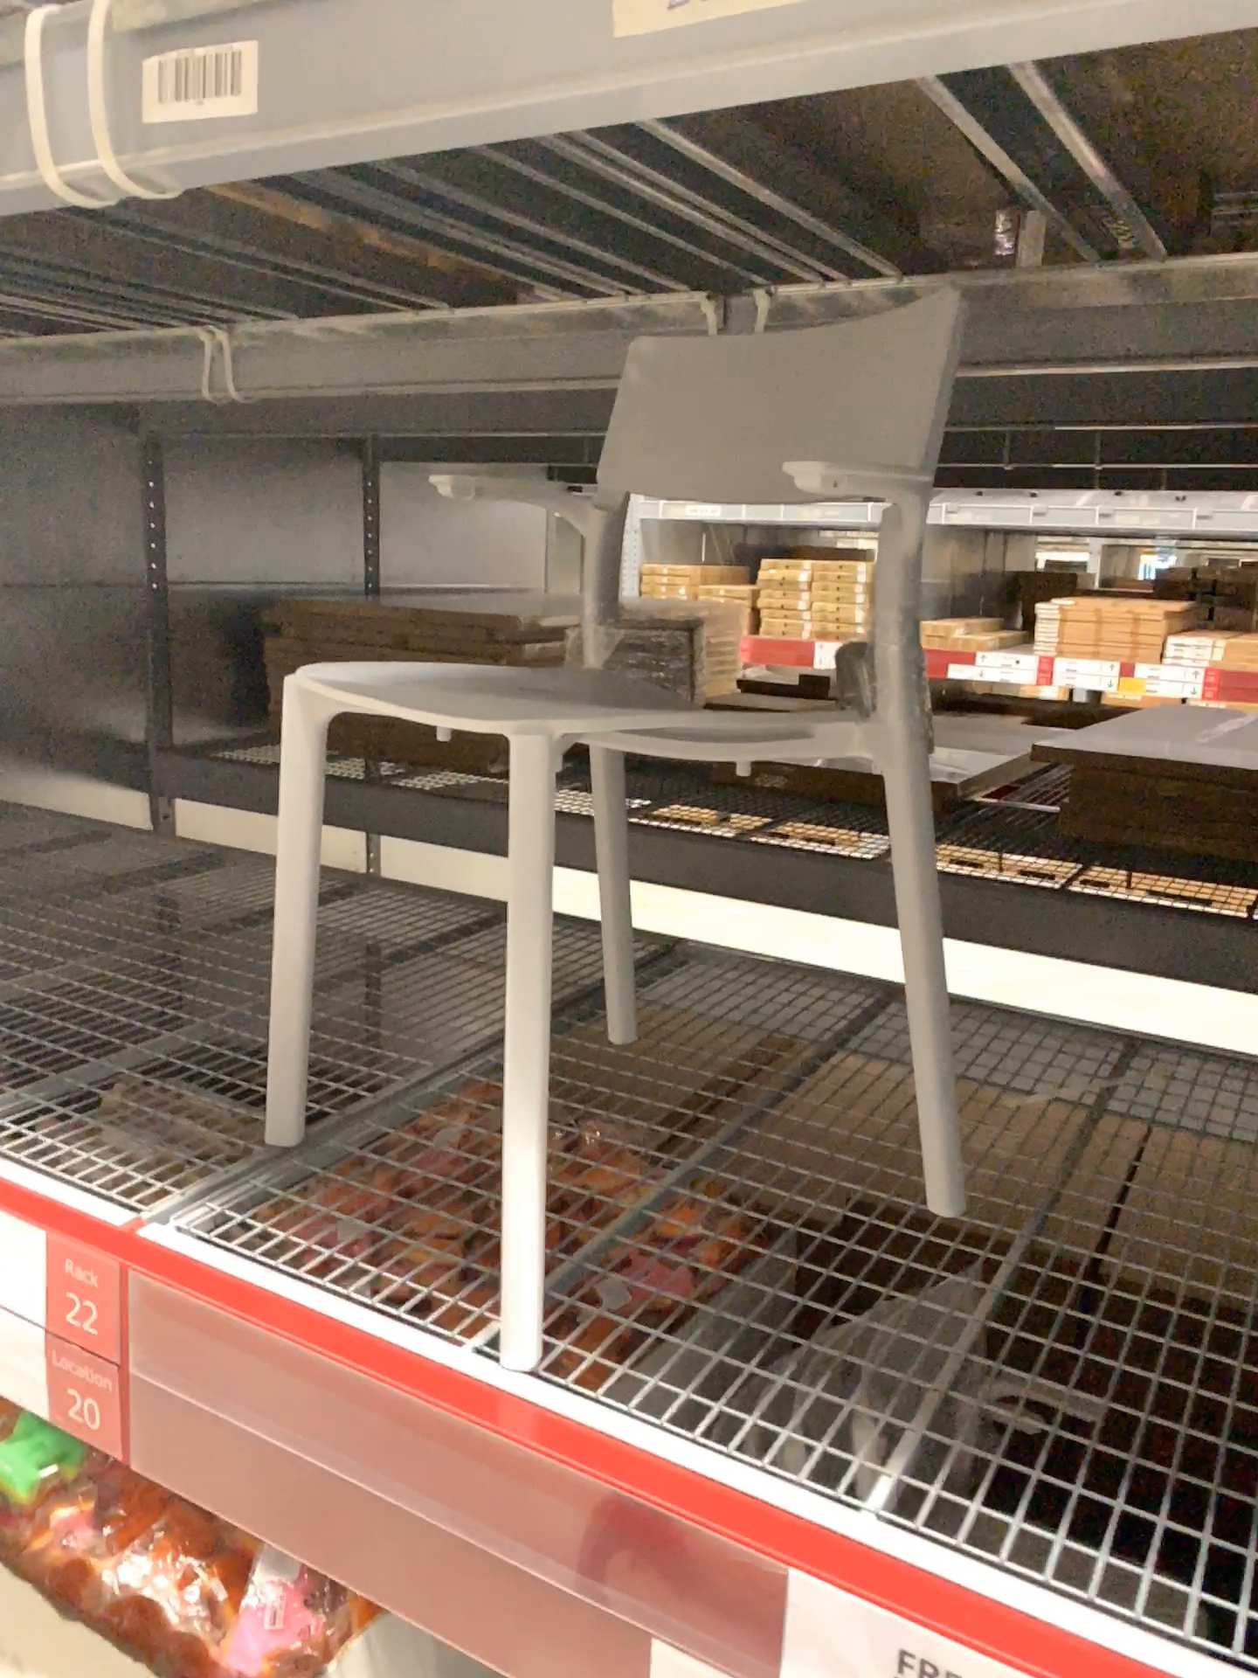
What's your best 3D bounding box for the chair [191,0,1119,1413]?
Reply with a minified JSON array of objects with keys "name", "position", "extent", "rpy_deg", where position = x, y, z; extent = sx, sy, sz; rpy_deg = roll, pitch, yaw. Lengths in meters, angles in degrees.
[{"name":"chair","position":[0.003,-0.108,1.092],"extent":[0.550,0.818,0.481],"rpy_deg":[-8,16,-39]}]
